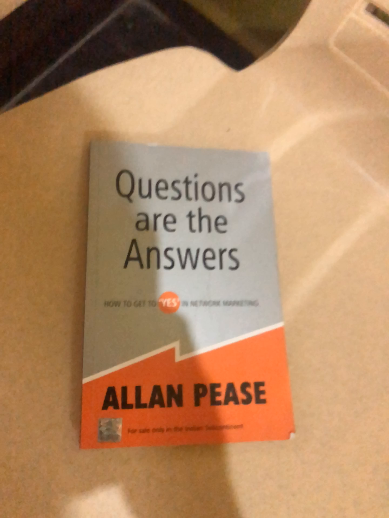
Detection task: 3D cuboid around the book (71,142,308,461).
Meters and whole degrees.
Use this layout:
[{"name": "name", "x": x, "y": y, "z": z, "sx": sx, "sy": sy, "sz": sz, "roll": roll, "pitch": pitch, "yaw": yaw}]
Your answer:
[{"name": "book", "x": -0.004, "y": 0.022, "z": 0.306, "sx": 0.150, "sy": 0.020, "sz": 0.210, "roll": 0, "pitch": 77, "yaw": -9}]
